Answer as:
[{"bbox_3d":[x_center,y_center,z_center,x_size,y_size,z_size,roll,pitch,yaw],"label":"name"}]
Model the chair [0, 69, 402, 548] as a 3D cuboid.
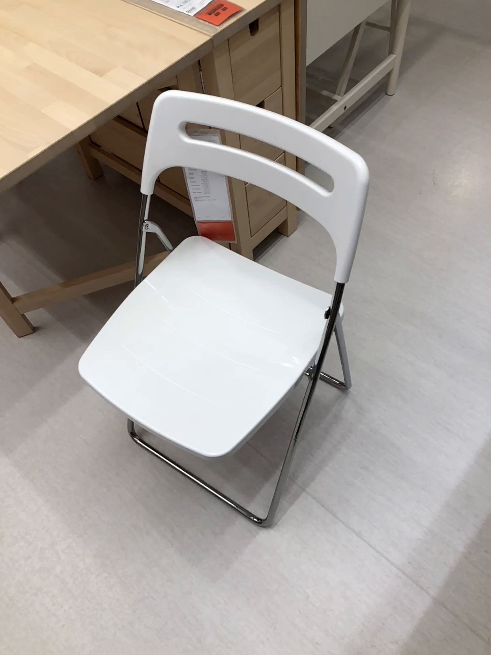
[{"bbox_3d":[-0.060,0.021,1.004,0.441,0.716,0.421,28,63,22],"label":"chair"}]
